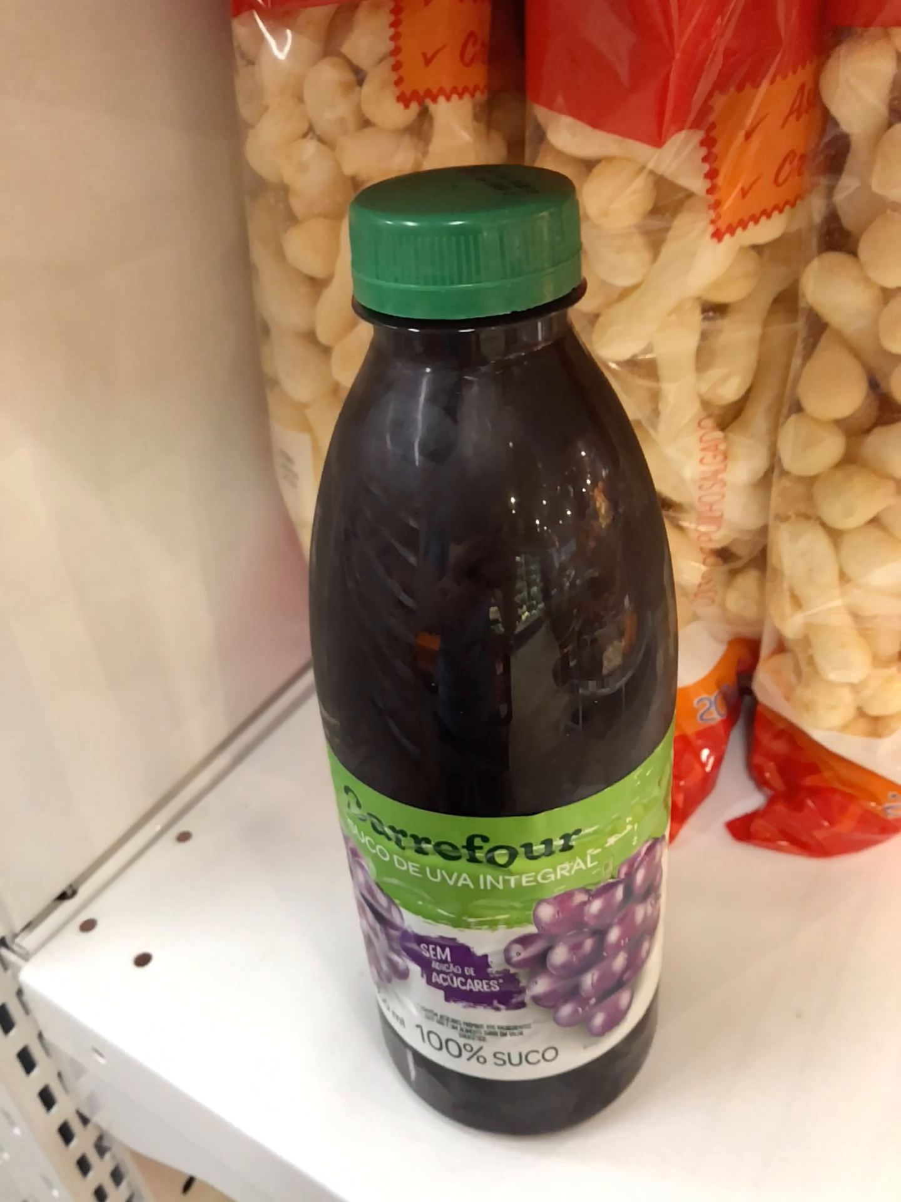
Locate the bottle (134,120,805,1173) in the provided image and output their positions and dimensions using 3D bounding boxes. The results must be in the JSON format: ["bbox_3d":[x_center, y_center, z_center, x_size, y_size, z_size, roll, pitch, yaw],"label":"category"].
[{"bbox_3d":[0.014,0.024,0.230,0.090,0.228,0.081,6,36,13],"label":"bottle"}]
